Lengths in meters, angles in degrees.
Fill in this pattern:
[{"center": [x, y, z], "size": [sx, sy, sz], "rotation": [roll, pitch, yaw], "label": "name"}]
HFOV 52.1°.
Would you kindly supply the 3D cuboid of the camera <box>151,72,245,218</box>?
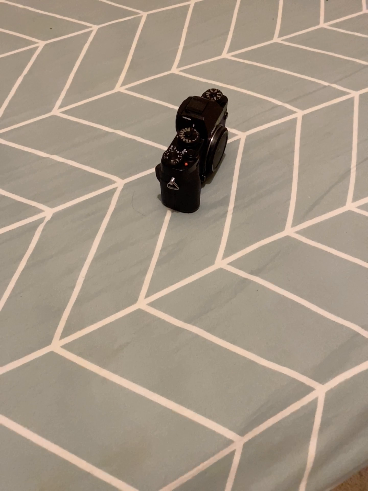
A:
[{"center": [0.017, -0.114, 0.431], "size": [0.051, 0.087, 0.130], "rotation": [22, 62, 11], "label": "camera"}]
